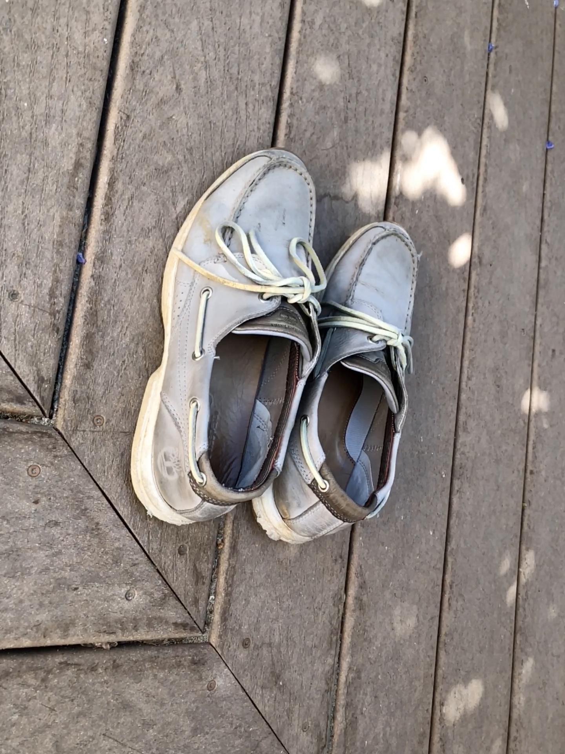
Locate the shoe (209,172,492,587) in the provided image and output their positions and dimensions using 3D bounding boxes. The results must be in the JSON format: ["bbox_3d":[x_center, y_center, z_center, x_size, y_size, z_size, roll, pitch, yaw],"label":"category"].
[{"bbox_3d":[0.069,-0.002,0.537,0.122,0.097,0.312,34,67,-32],"label":"shoe"}]

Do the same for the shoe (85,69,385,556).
[{"bbox_3d":[-0.027,-0.042,0.462,0.120,0.095,0.310,23,73,-36],"label":"shoe"}]
